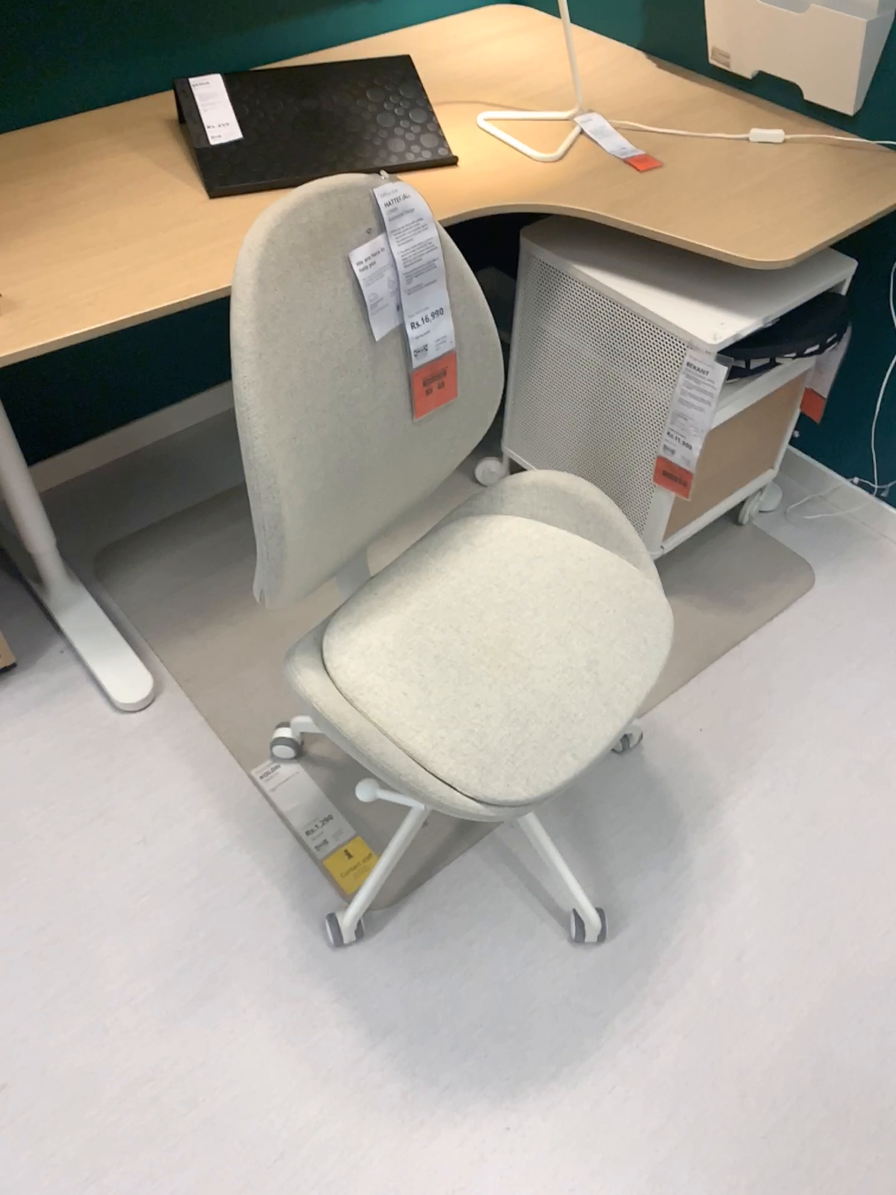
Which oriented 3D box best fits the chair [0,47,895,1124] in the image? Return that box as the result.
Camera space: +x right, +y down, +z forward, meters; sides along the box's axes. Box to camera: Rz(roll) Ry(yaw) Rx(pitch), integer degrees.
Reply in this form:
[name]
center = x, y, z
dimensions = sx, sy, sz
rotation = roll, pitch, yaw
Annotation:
[chair]
center = 0.010, 0.028, 1.133
dimensions = 0.641, 0.997, 0.631
rotation = 32, 55, 24
